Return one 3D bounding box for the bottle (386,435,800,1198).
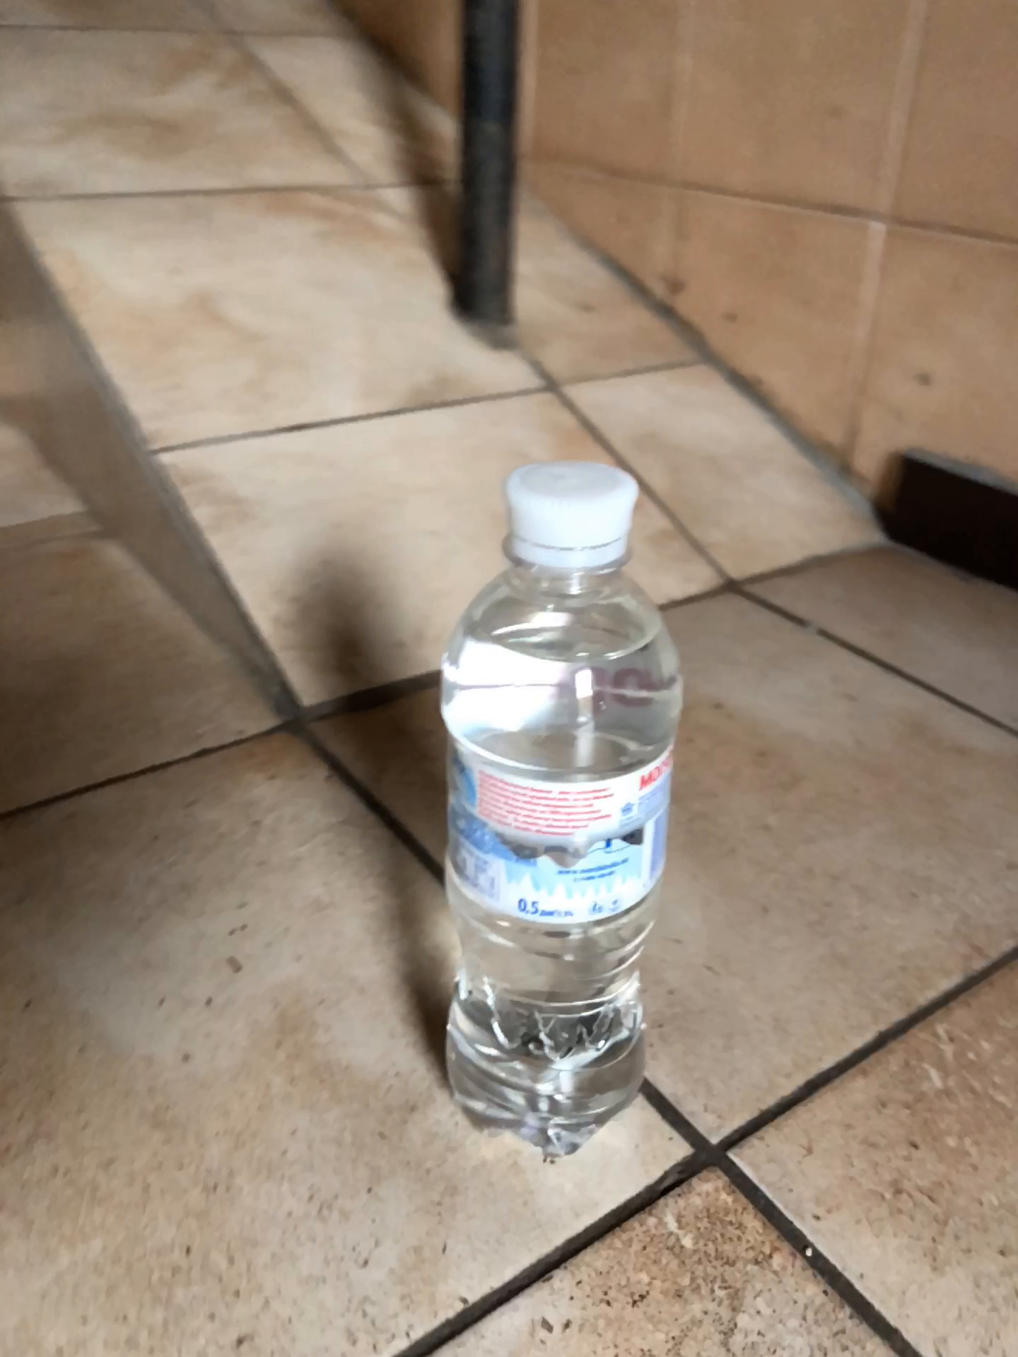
[{"bbox_3d":[0.014,0.042,0.323,0.080,0.199,0.081,1,30,-1],"label":"bottle"}]
